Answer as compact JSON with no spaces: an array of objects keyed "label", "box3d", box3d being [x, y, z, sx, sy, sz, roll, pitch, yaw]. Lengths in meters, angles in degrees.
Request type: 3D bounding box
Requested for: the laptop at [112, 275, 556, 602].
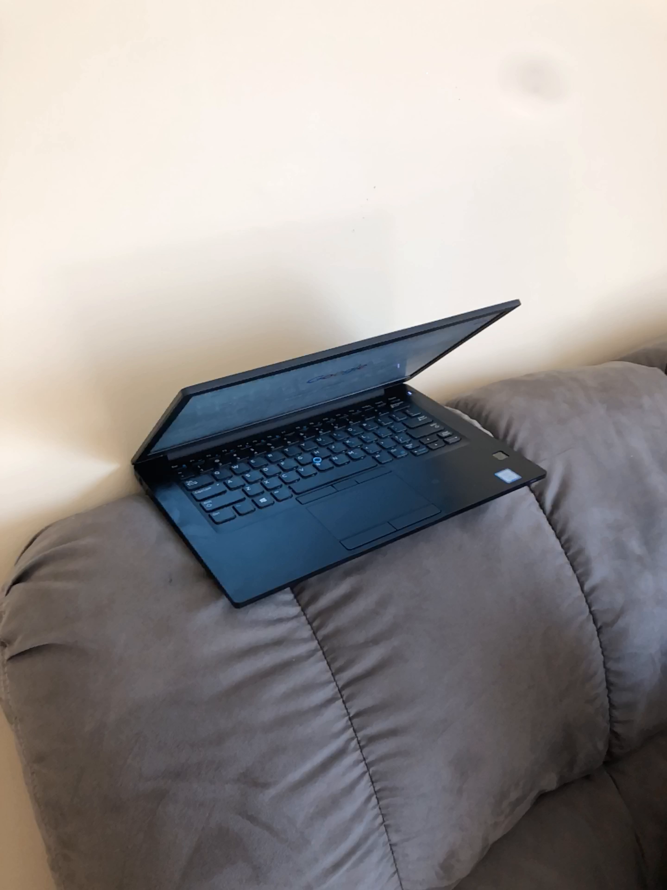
[{"label":"laptop","box3d":[0.002,-0.034,0.664,0.321,0.128,0.214,-18,34,-28]}]
